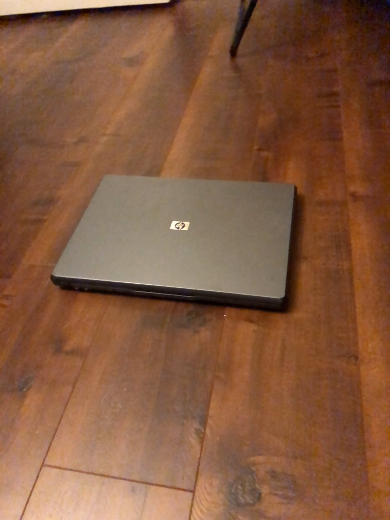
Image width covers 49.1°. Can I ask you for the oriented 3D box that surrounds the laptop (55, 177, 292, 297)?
[{"bbox_3d":[-0.021,-0.048,0.633,0.309,0.005,0.217,5,49,12],"label":"laptop"}]
